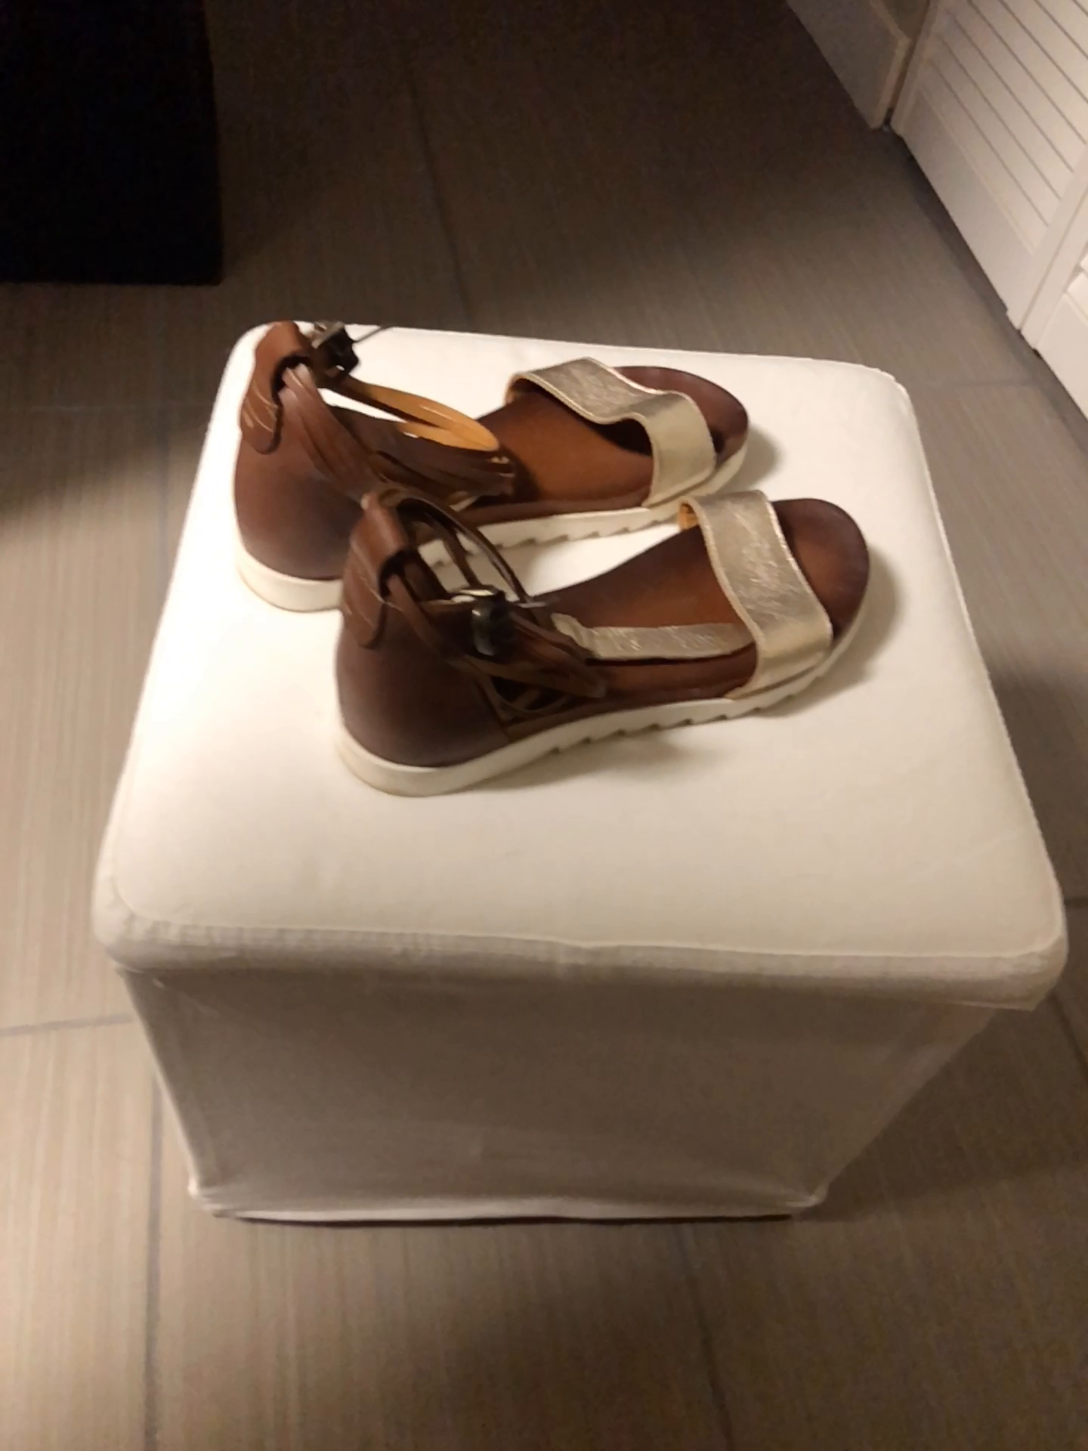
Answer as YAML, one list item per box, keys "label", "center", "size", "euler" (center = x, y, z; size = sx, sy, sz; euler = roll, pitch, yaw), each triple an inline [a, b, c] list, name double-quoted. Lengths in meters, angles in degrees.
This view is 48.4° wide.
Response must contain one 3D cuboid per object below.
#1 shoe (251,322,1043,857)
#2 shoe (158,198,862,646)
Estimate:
- label: "shoe"
  center: [0.037, -0.060, 0.458]
  size: [0.260, 0.090, 0.110]
  euler: [-18, 57, -21]
- label: "shoe"
  center: [-0.013, -0.137, 0.518]
  size: [0.260, 0.090, 0.110]
  euler: [-18, 57, -21]
